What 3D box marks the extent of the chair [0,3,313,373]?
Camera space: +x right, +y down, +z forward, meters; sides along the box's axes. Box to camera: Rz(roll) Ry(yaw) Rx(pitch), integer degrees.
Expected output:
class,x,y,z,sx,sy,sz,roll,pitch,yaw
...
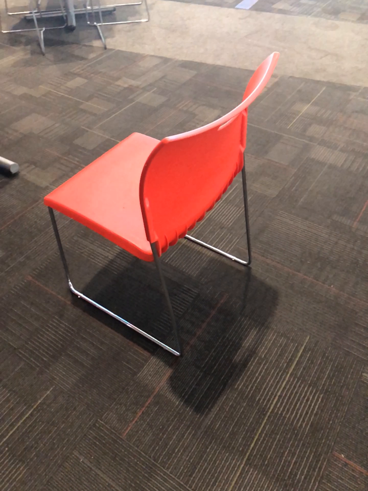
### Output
class,x,y,z,sx,sy,sz,roll,pitch,yaw
chair,-0.090,-0.177,1.220,0.611,0.767,0.561,25,51,24
